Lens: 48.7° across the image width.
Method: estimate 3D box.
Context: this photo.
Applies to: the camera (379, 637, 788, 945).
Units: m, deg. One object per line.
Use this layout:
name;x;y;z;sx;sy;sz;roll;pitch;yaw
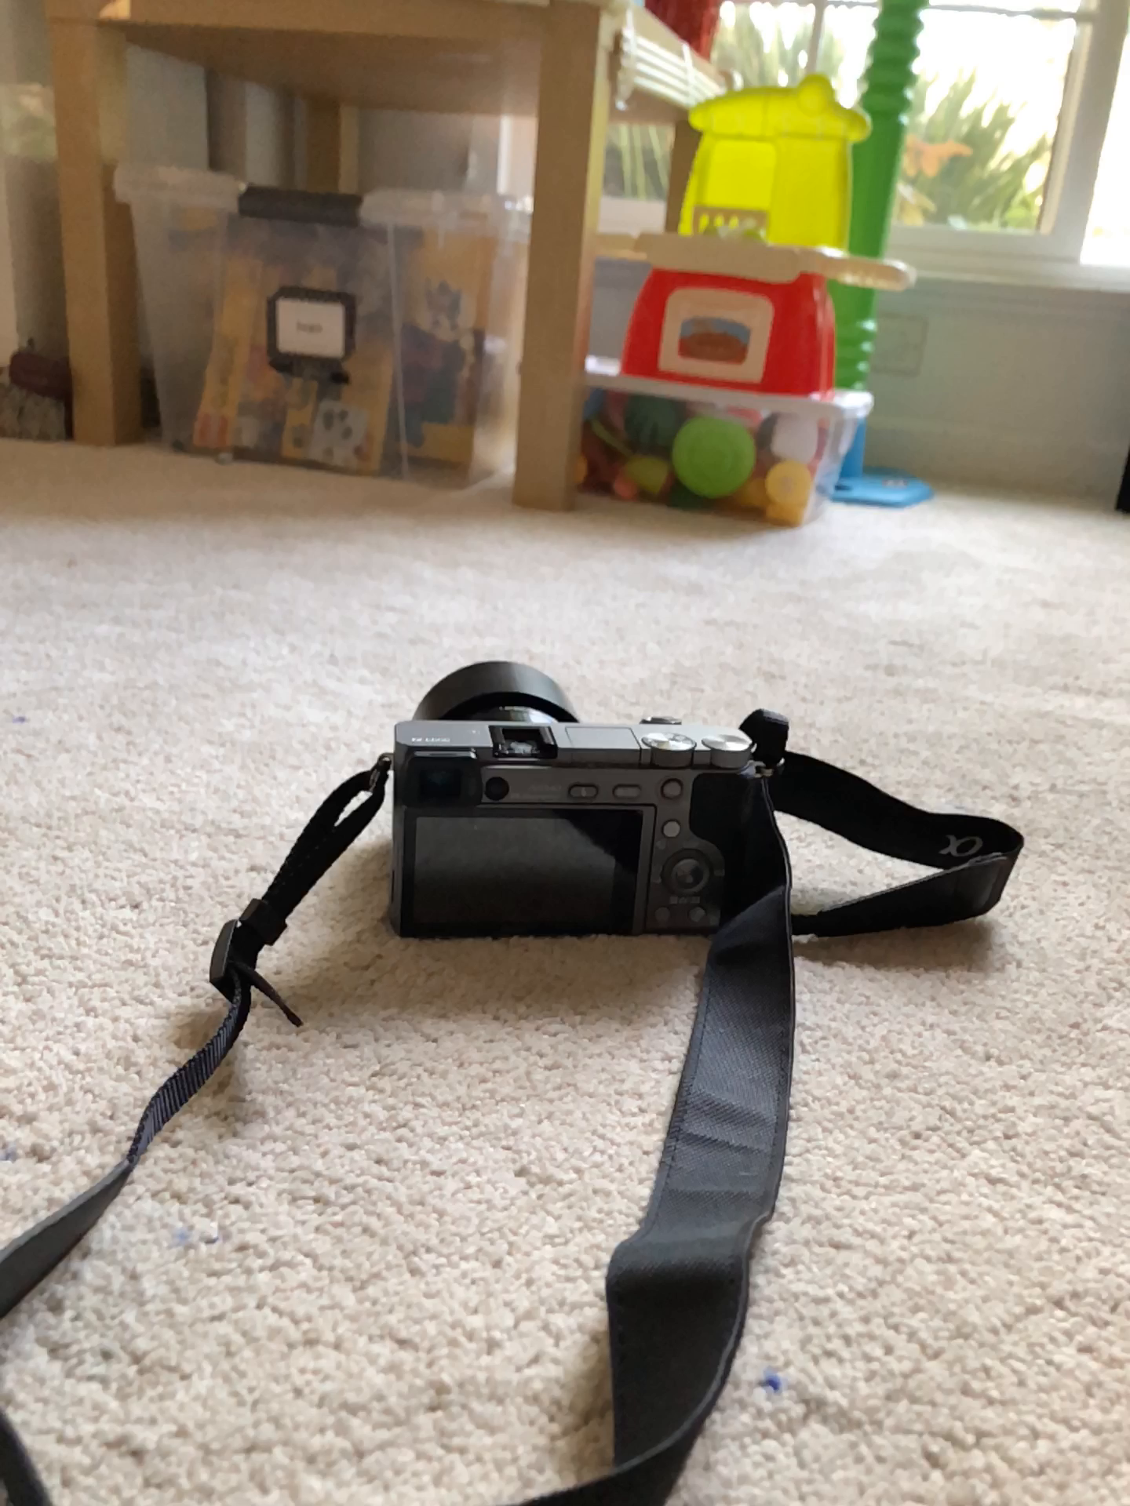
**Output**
camera;-0.002;0.010;0.427;0.120;0.070;0.100;1;20;-9
